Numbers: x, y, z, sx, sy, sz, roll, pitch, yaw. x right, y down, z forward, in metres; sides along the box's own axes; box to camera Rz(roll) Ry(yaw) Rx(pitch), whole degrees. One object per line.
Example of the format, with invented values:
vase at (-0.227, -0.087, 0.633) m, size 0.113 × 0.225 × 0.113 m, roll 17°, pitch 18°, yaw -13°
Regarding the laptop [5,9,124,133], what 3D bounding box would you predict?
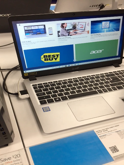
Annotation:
laptop at (0.082, -0.062, 0.494) m, size 0.384 × 0.199 × 0.308 m, roll -13°, pitch 48°, yaw -17°
